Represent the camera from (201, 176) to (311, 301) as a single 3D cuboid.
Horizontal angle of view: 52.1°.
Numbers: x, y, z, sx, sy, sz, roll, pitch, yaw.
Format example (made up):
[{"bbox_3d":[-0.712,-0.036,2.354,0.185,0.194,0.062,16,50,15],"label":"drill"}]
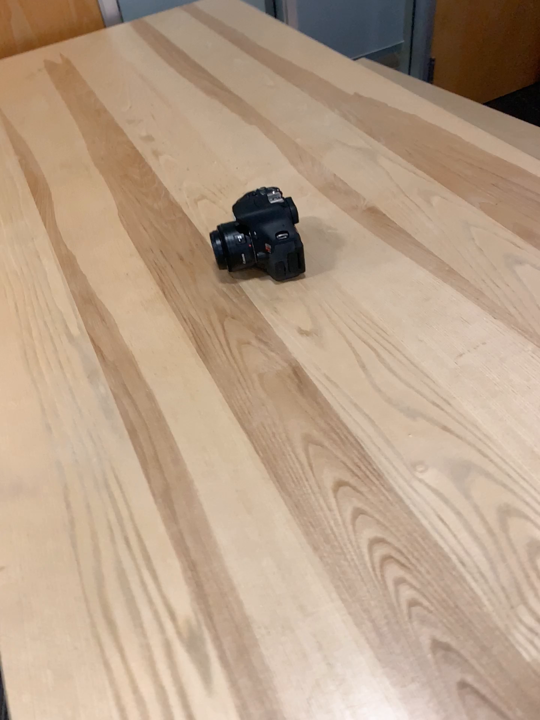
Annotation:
[{"bbox_3d":[-0.019,-0.172,0.773,0.116,0.094,0.123,-16,48,-5],"label":"camera"}]
